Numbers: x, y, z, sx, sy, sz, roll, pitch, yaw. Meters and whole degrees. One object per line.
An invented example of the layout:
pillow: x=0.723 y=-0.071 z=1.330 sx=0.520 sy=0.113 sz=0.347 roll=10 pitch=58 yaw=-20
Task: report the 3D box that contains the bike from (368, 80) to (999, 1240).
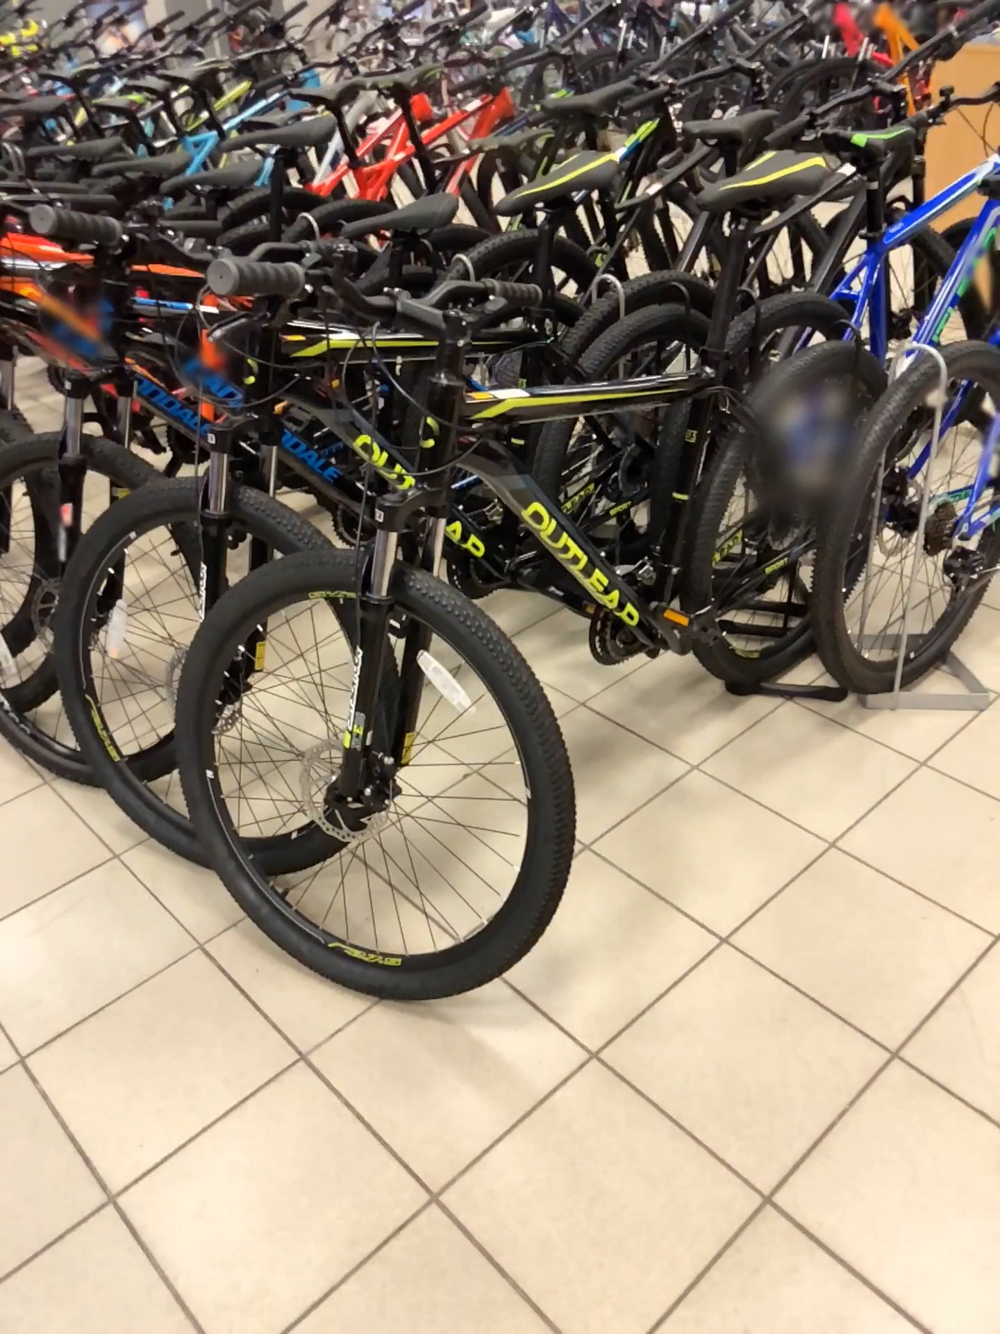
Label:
bike: x=0.451 y=-0.230 z=1.745 sx=0.663 sy=1.044 sz=1.358 roll=20 pitch=41 yaw=32
